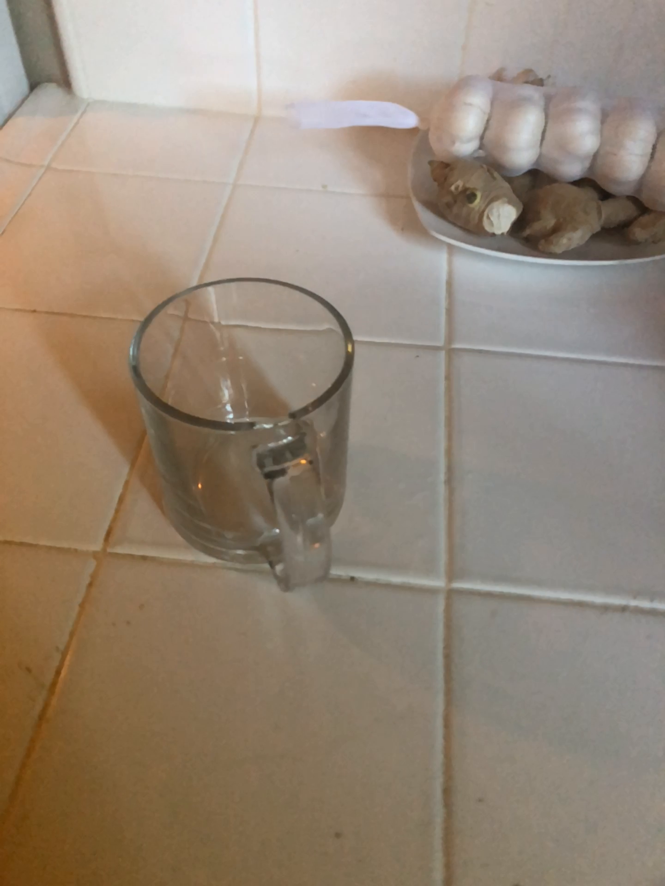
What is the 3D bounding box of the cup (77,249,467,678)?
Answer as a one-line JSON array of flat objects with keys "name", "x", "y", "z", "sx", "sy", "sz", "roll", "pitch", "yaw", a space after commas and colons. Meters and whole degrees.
[{"name": "cup", "x": -0.029, "y": 0.002, "z": 0.301, "sx": 0.100, "sy": 0.079, "sz": 0.131, "roll": -20, "pitch": 54, "yaw": -17}]
